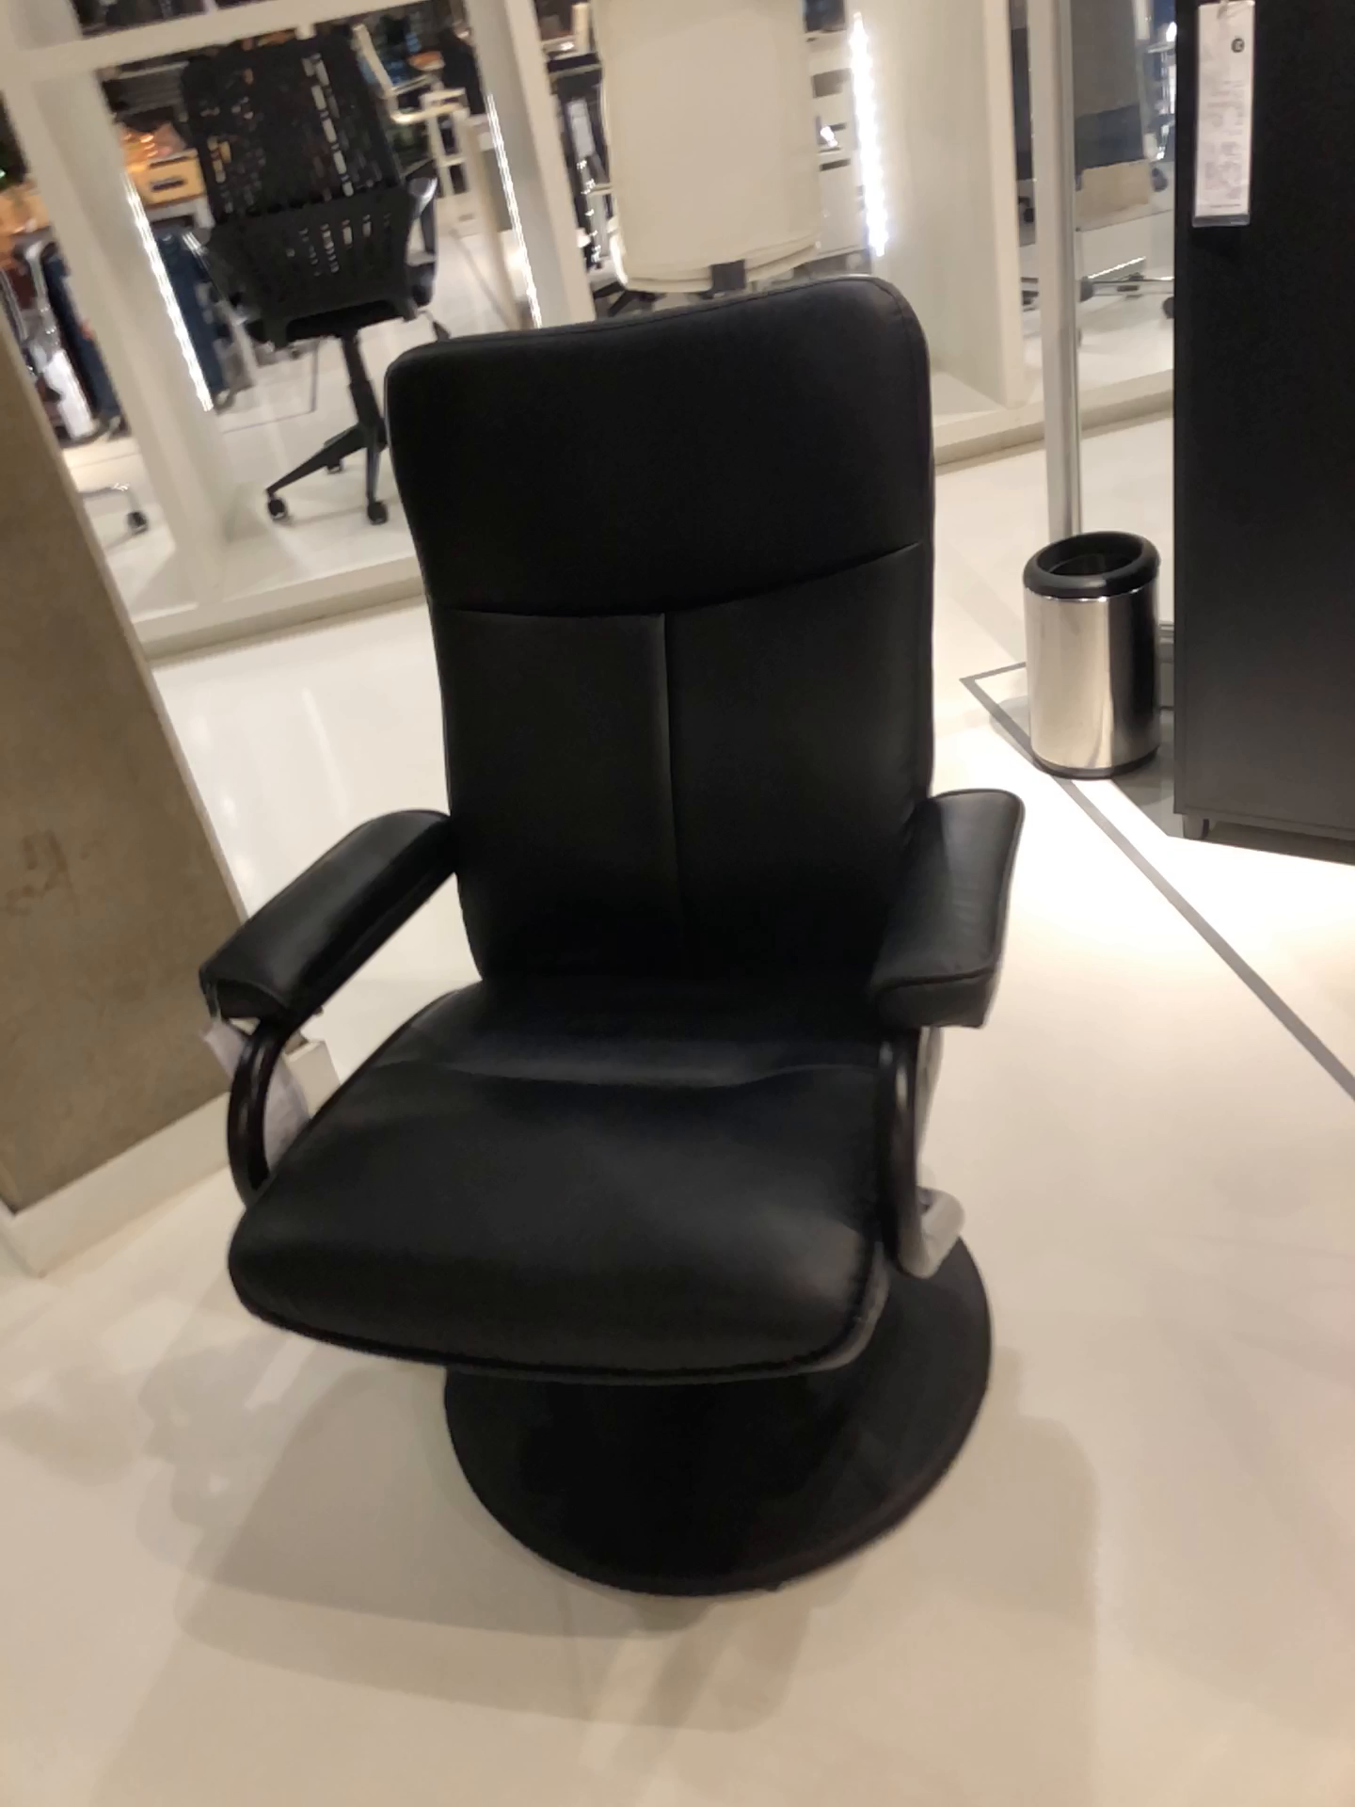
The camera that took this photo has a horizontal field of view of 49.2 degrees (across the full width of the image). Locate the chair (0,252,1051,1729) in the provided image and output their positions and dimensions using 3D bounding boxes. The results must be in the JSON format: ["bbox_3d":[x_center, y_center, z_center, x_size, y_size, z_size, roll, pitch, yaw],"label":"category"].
[{"bbox_3d":[-0.049,0.063,1.345,0.690,0.992,0.736,-1,34,17],"label":"chair"}]
